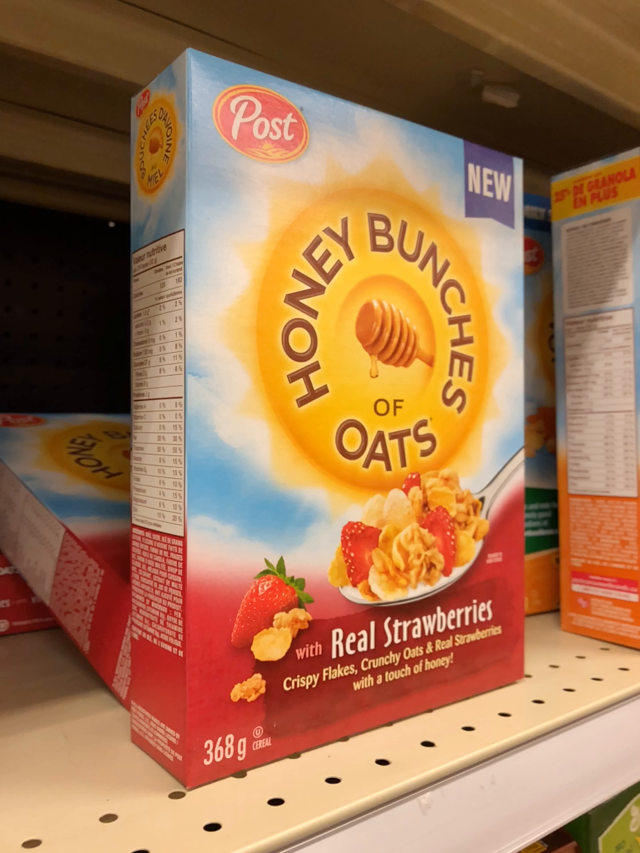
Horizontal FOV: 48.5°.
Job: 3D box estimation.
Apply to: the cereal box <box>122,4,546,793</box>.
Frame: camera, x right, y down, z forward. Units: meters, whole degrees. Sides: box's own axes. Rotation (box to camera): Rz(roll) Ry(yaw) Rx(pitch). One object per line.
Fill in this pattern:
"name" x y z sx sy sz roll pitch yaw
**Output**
"cereal box" 0.019 -0.010 0.322 0.200 0.270 0.050 1 -1 -36
